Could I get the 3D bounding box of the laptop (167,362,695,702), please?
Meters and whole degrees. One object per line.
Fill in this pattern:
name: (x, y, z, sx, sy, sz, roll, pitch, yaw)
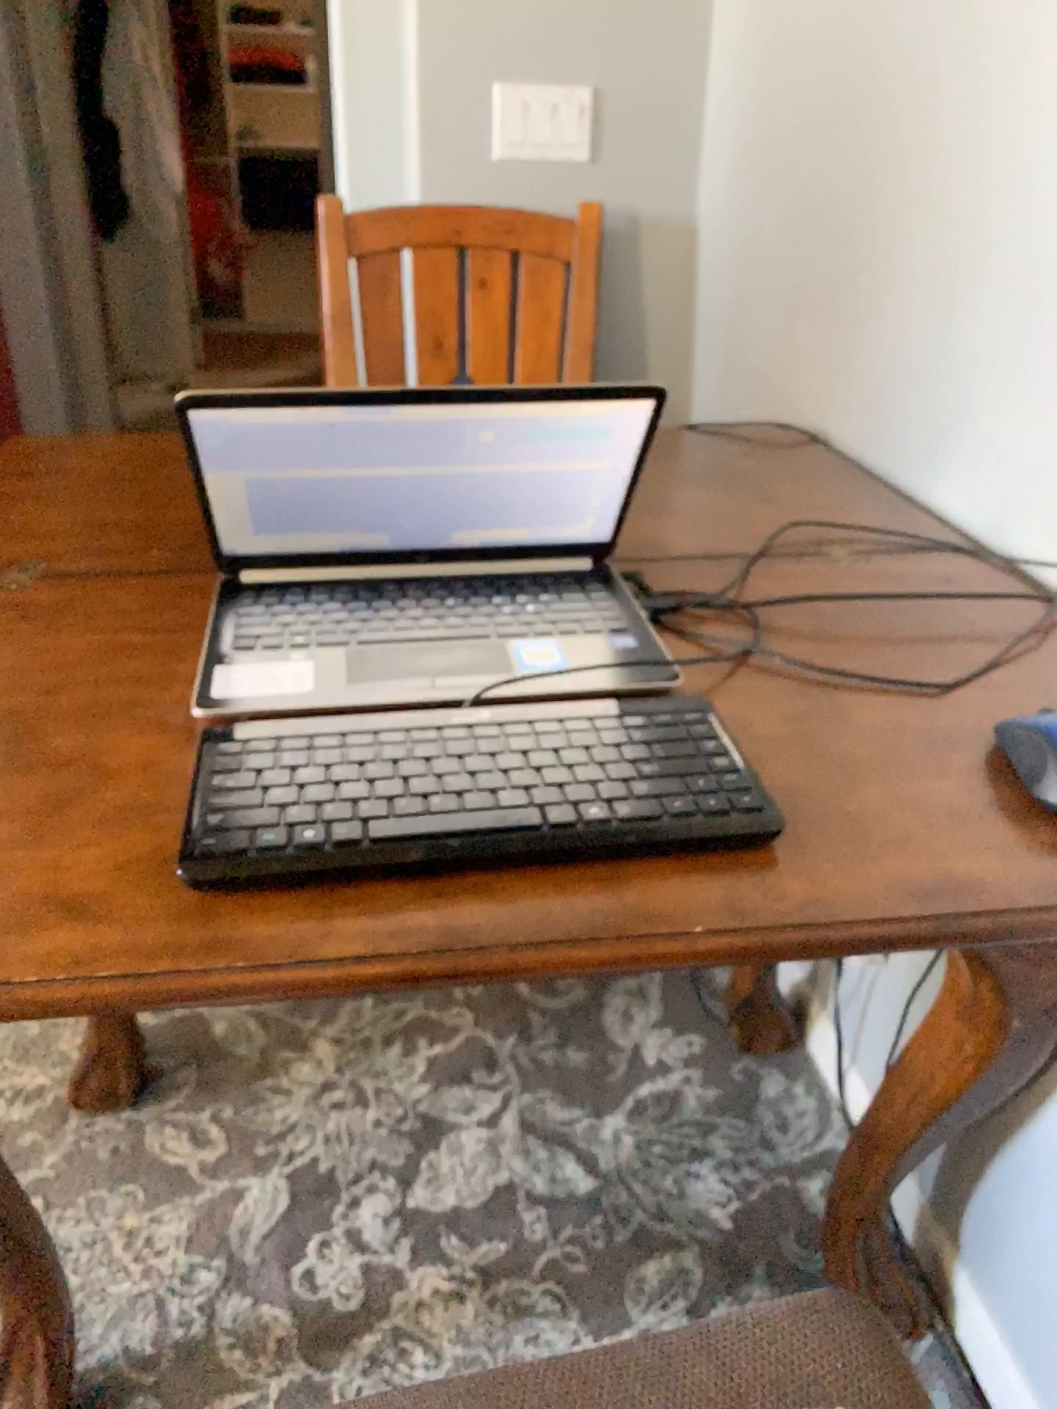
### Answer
laptop: (-0.067, -0.129, 0.746, 0.302, 0.157, 0.200, -3, 29, -8)
